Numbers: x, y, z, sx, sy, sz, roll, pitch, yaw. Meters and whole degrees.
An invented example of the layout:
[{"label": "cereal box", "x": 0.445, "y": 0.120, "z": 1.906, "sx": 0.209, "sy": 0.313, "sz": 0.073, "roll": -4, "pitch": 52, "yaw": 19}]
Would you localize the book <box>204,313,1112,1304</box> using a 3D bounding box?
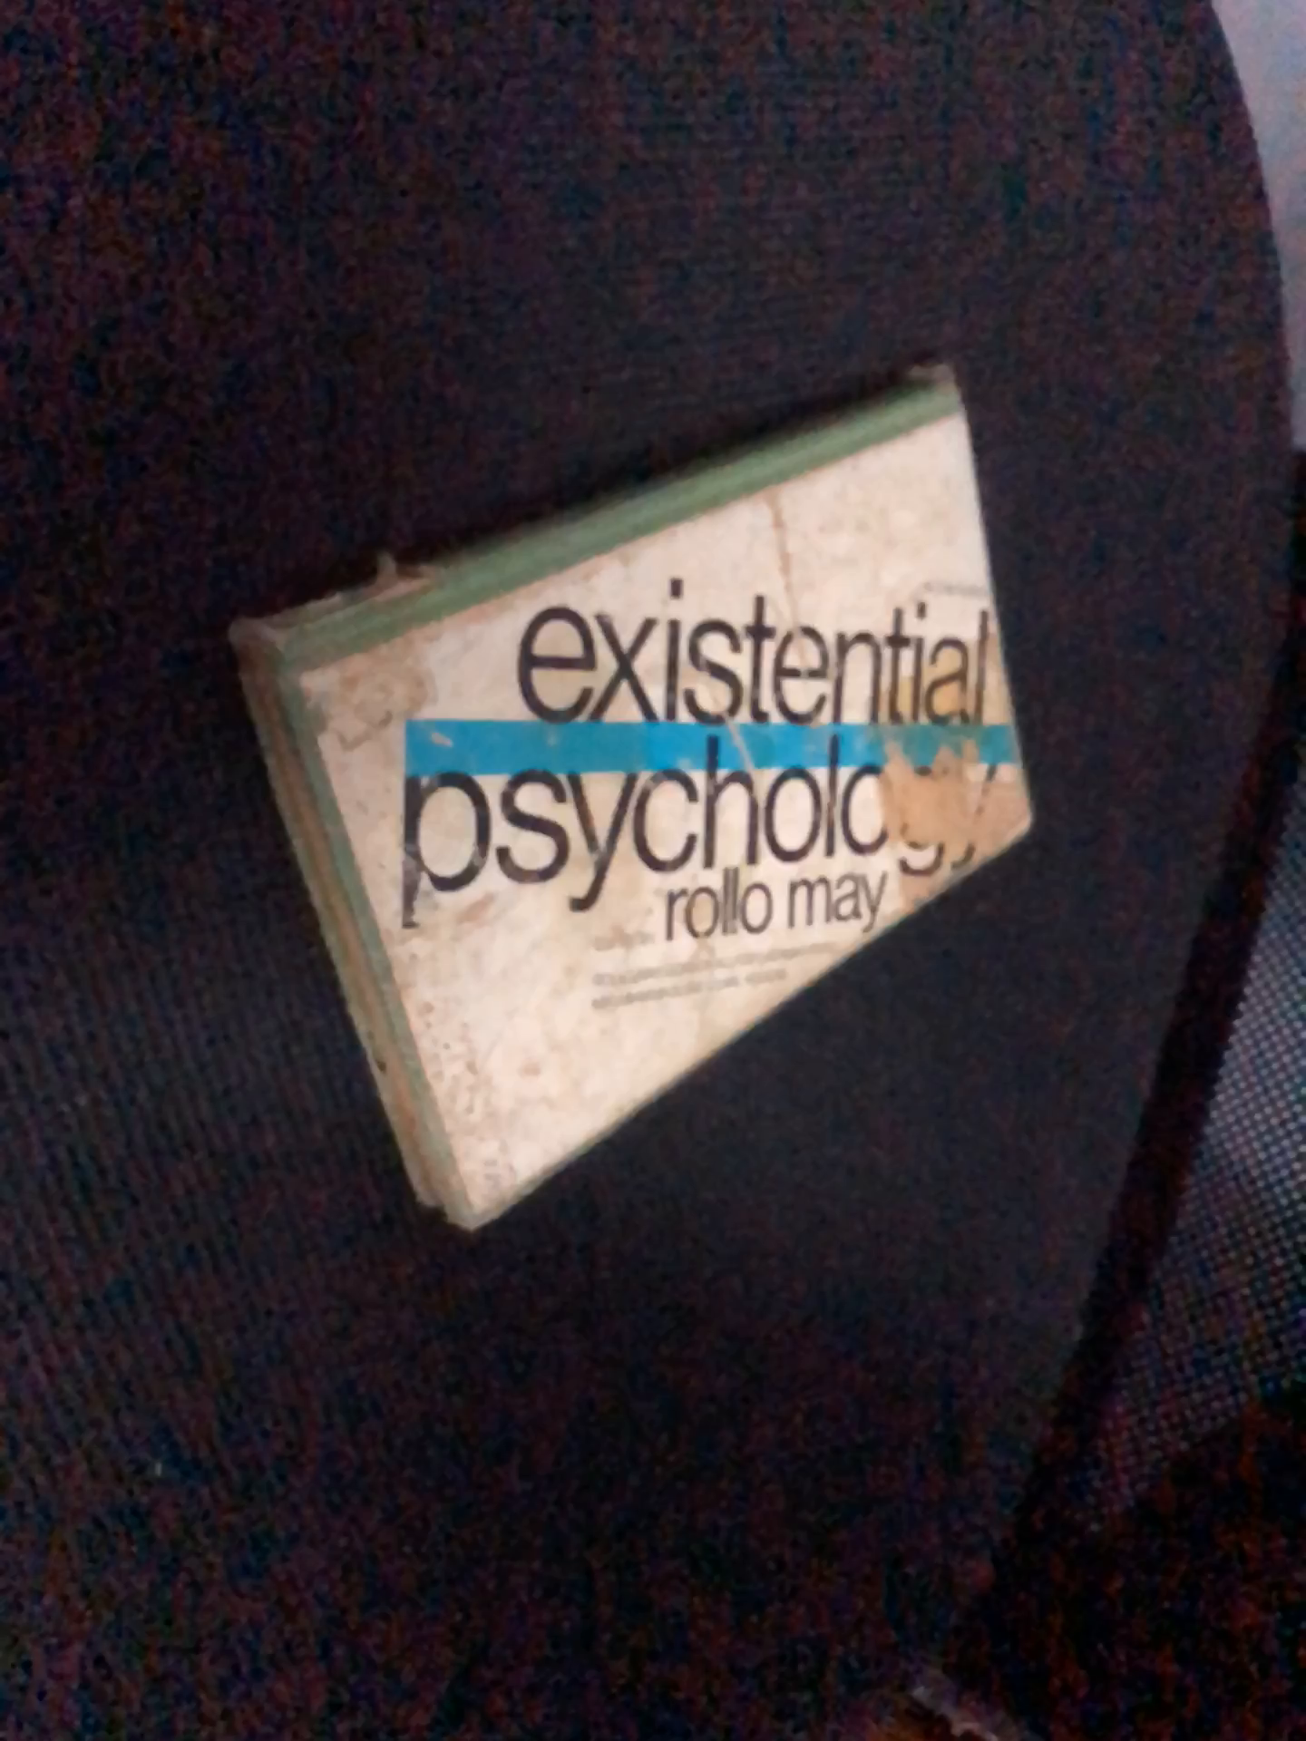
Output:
[{"label": "book", "x": 0.024, "y": -0.025, "z": 0.295, "sx": 0.201, "sy": 0.020, "sz": 0.126, "roll": -31, "pitch": 119, "yaw": -35}]
